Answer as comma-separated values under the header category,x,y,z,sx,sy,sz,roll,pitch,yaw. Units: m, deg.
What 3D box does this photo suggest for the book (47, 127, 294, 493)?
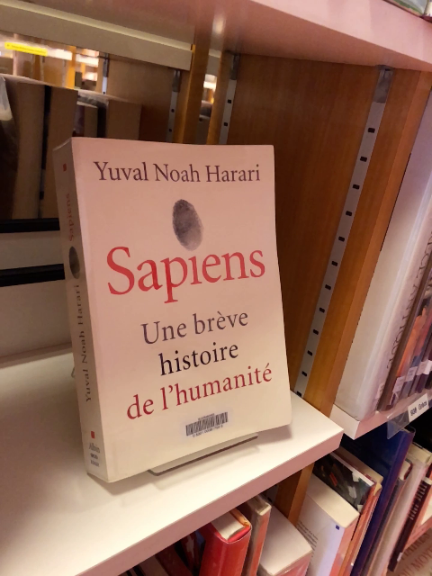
category,x,y,z,sx,sy,sz,roll,pitch,yaw
book,-0.029,0.008,0.387,0.178,0.244,0.052,-6,3,-34
